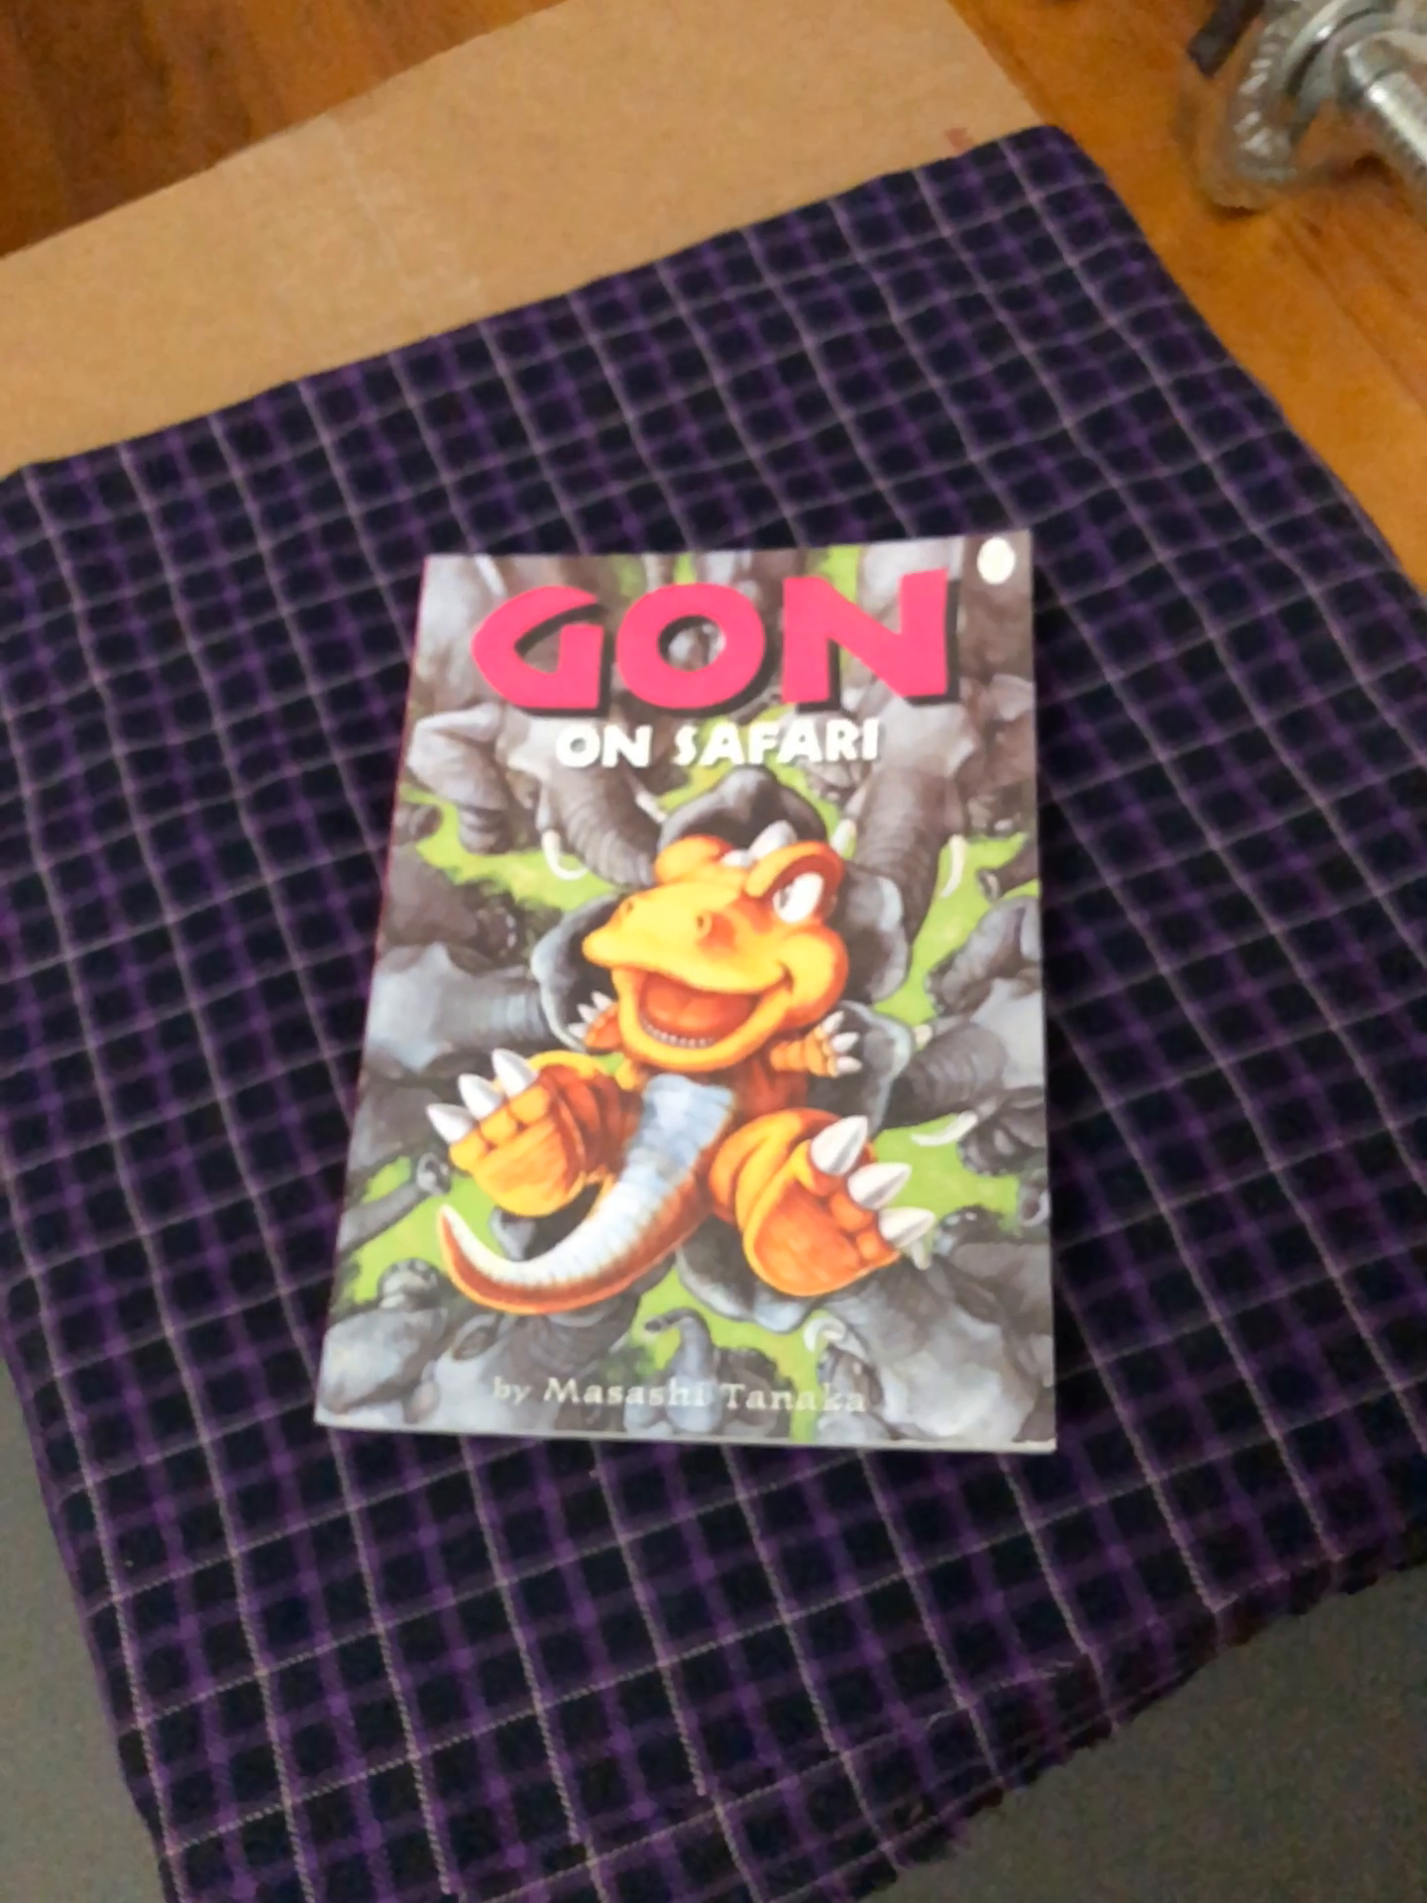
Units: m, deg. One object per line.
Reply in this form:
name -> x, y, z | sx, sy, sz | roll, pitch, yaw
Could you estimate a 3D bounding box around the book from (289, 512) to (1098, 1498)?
book -> 0.001, 0.001, 0.341 | 0.150, 0.020, 0.210 | 1, 68, 7
